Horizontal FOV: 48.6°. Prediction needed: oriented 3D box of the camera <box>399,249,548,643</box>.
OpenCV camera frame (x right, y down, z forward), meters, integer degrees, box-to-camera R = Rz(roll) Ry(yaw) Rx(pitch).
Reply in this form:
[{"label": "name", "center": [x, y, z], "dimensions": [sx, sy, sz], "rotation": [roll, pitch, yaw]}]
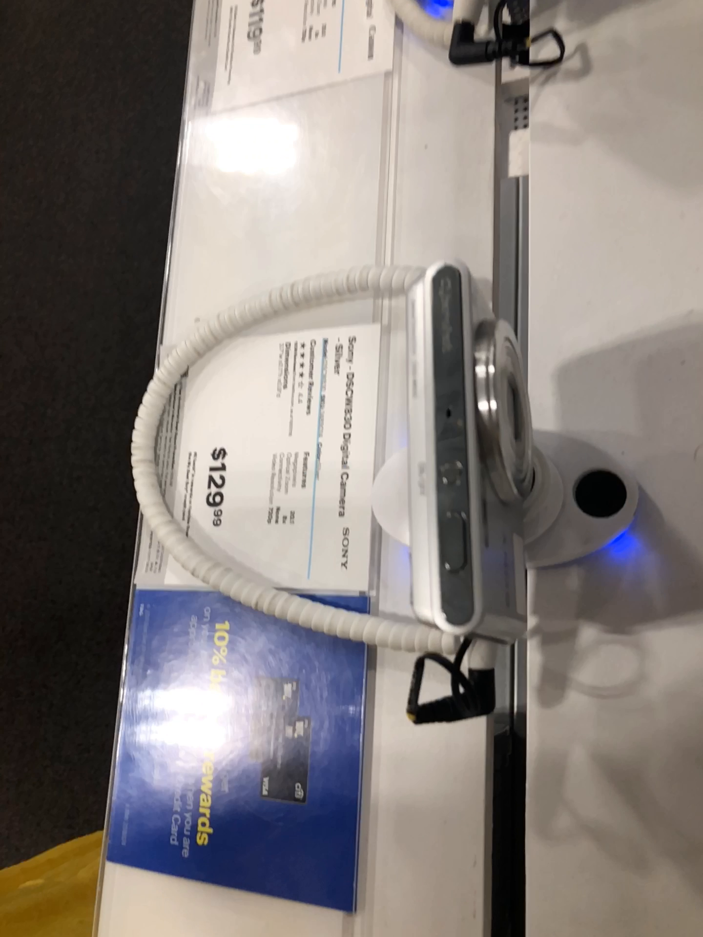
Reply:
[{"label": "camera", "center": [0.034, 0.000, 0.209], "dimensions": [0.020, 0.070, 0.090], "rotation": [-6, 75, 22]}]
